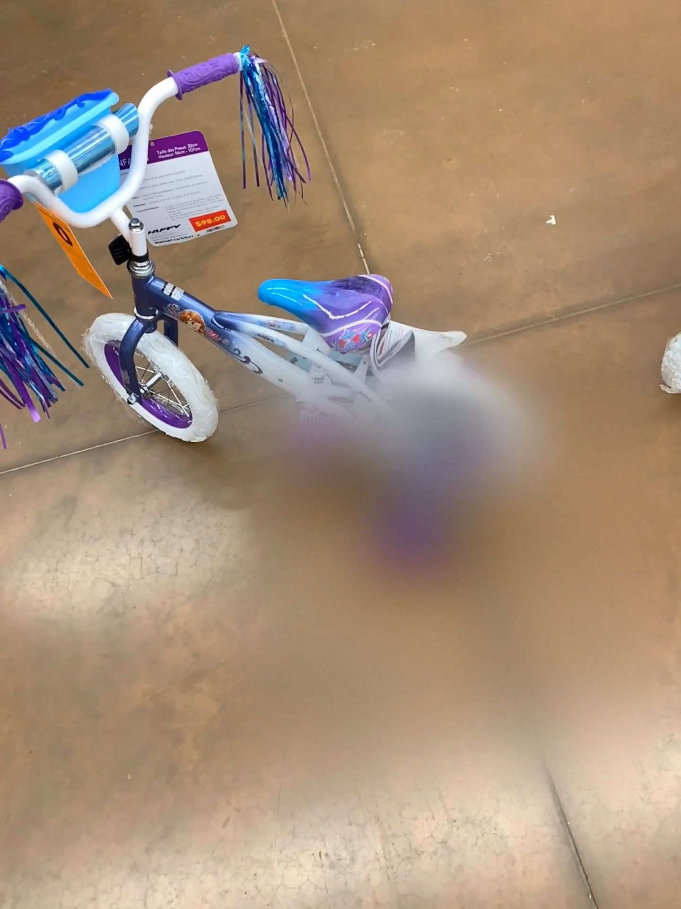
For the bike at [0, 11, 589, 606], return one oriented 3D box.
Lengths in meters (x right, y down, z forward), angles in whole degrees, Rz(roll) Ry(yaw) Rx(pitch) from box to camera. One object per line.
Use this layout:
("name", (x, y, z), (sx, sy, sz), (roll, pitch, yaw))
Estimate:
("bike", (-0.063, -0.158, 1.007), (0.651, 0.643, 0.473), (7, 59, 15))
